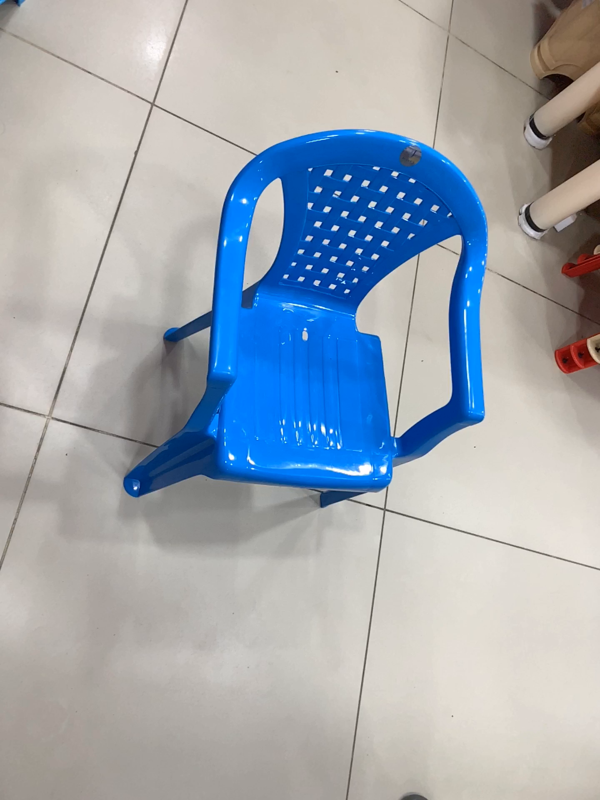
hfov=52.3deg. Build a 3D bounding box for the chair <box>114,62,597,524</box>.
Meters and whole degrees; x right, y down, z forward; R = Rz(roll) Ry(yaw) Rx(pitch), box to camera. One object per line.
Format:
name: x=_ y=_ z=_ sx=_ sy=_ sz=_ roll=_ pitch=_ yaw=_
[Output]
chair: x=0.018 y=-0.043 z=0.778 sx=0.371 sy=0.499 sz=0.340 roll=10 pitch=72 yaw=-24
